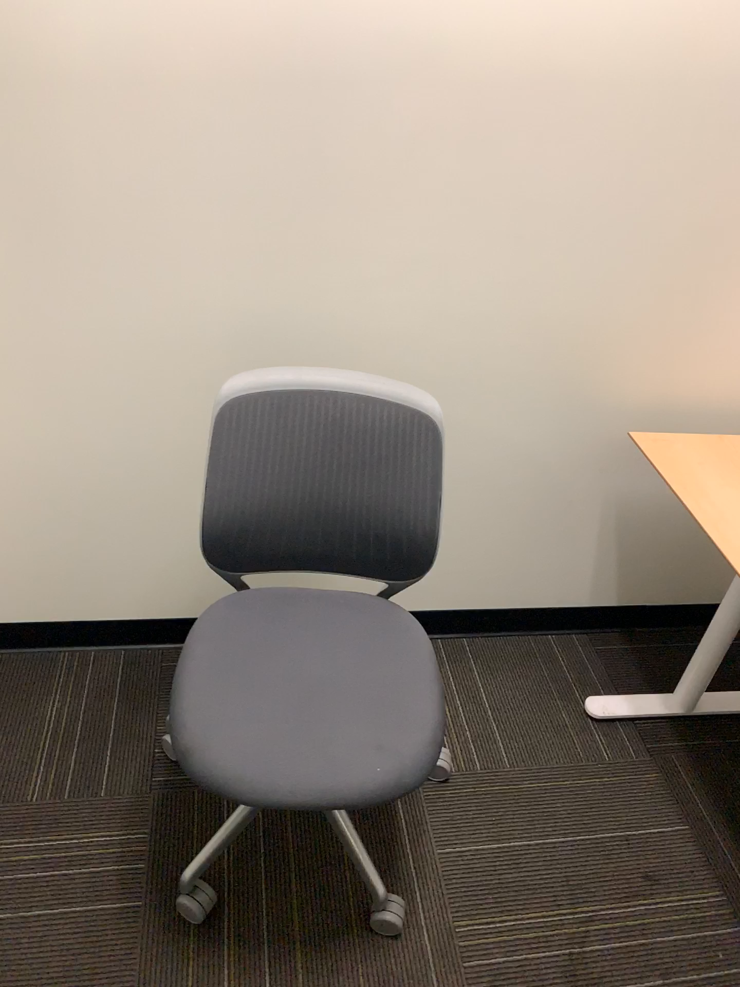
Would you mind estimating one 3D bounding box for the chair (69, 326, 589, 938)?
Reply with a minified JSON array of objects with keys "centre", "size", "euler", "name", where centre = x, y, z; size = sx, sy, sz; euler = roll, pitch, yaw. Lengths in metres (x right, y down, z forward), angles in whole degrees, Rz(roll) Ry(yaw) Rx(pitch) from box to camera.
[{"centre":[-0.097,0.265,1.660],"size":[0.720,0.885,0.905],"euler":[6,35,-3],"name":"chair"}]
